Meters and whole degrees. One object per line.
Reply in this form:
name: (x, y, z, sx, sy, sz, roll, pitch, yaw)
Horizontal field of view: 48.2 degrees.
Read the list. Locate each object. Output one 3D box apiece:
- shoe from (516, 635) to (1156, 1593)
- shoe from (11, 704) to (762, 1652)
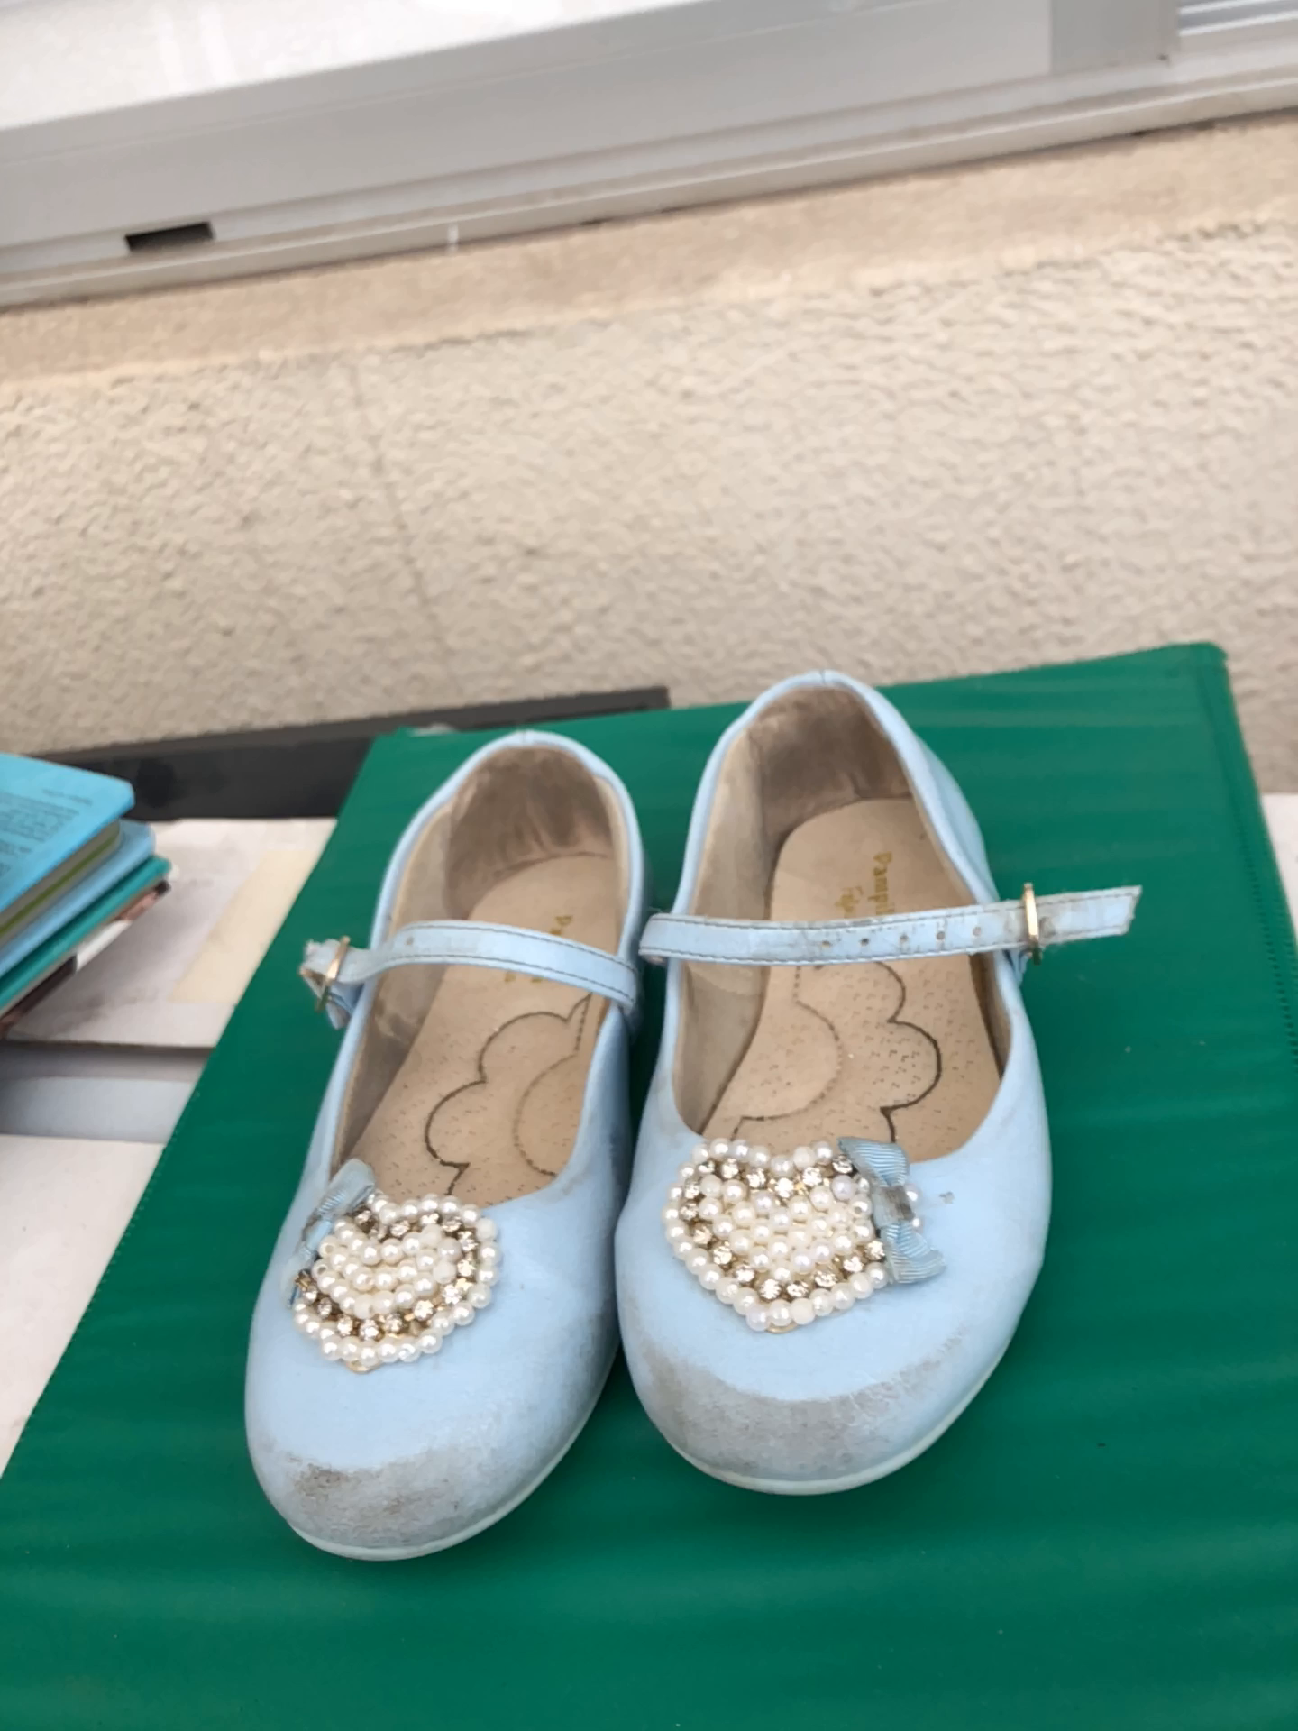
shoe: (0.037, 0.029, 0.261, 0.080, 0.050, 0.171, -3, 41, 12)
shoe: (-0.031, 0.043, 0.271, 0.086, 0.050, 0.171, -3, 41, 12)
